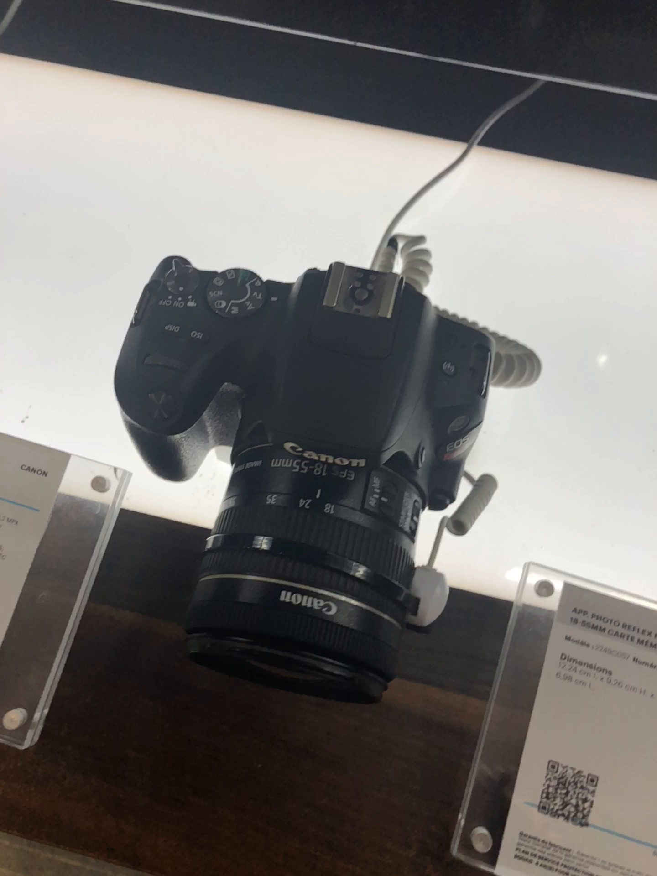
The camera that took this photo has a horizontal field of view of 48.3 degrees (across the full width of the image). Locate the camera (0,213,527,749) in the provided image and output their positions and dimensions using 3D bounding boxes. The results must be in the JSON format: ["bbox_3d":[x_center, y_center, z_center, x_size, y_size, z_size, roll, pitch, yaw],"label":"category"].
[{"bbox_3d":[-0.018,0.015,0.226,0.124,0.082,0.118,12,64,5],"label":"camera"}]
